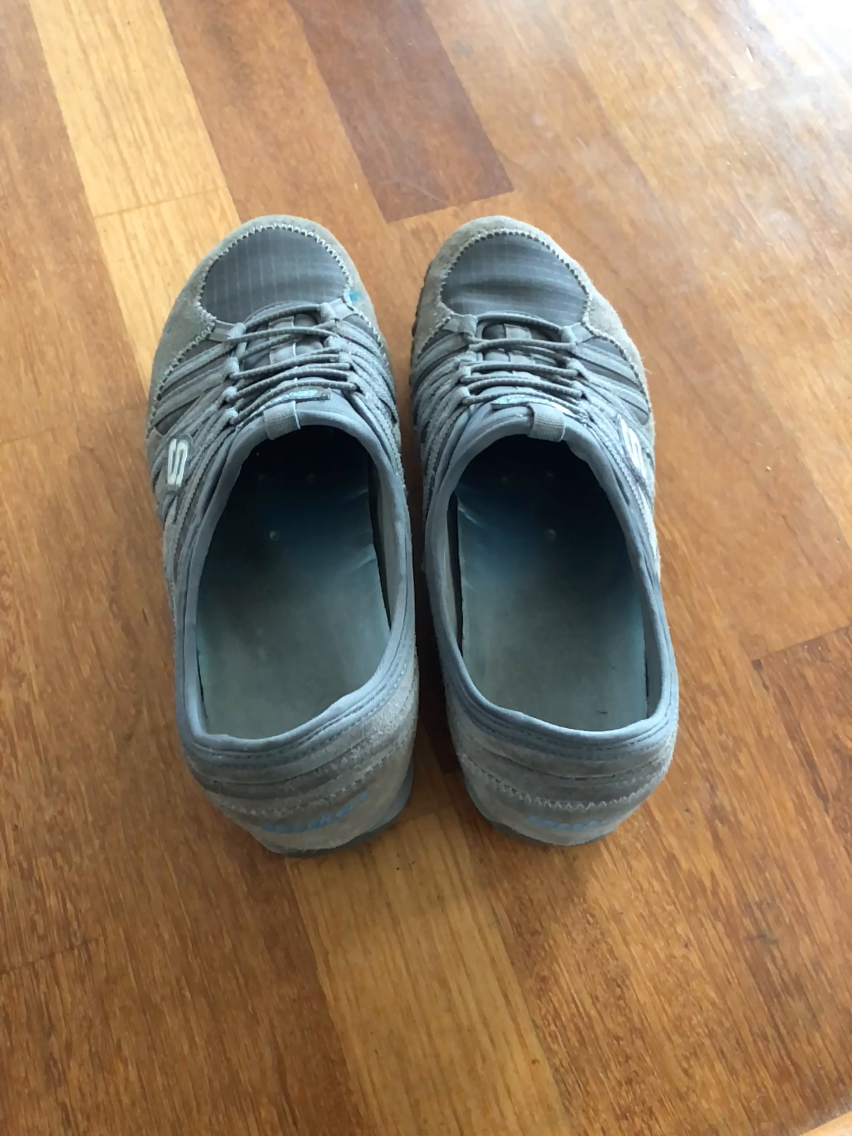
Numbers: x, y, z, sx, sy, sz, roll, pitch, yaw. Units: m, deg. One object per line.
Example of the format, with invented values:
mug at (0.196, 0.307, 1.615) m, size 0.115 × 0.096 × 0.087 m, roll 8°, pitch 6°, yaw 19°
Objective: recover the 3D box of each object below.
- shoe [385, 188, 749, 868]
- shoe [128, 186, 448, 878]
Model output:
shoe at (0.040, -0.016, 0.382) m, size 0.093 × 0.106 × 0.250 m, roll -3°, pitch 69°, yaw -5°
shoe at (-0.055, -0.015, 0.380) m, size 0.096 × 0.106 × 0.254 m, roll -3°, pitch 69°, yaw -5°
